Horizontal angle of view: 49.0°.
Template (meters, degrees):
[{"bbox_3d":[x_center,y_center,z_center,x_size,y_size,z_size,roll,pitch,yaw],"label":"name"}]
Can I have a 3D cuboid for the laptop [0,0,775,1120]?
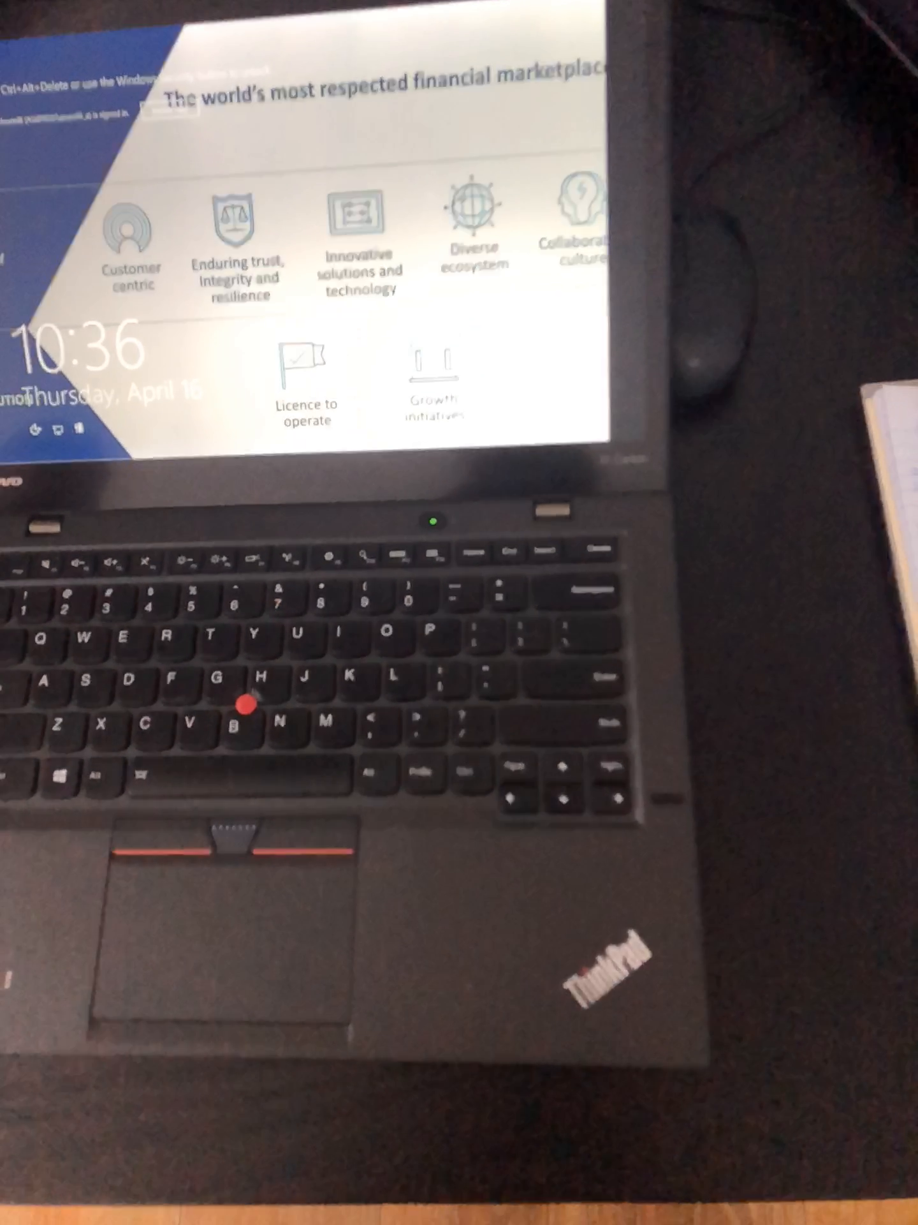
[{"bbox_3d":[-0.077,-0.043,0.372,0.322,0.117,0.389,-1,71,6],"label":"laptop"}]
